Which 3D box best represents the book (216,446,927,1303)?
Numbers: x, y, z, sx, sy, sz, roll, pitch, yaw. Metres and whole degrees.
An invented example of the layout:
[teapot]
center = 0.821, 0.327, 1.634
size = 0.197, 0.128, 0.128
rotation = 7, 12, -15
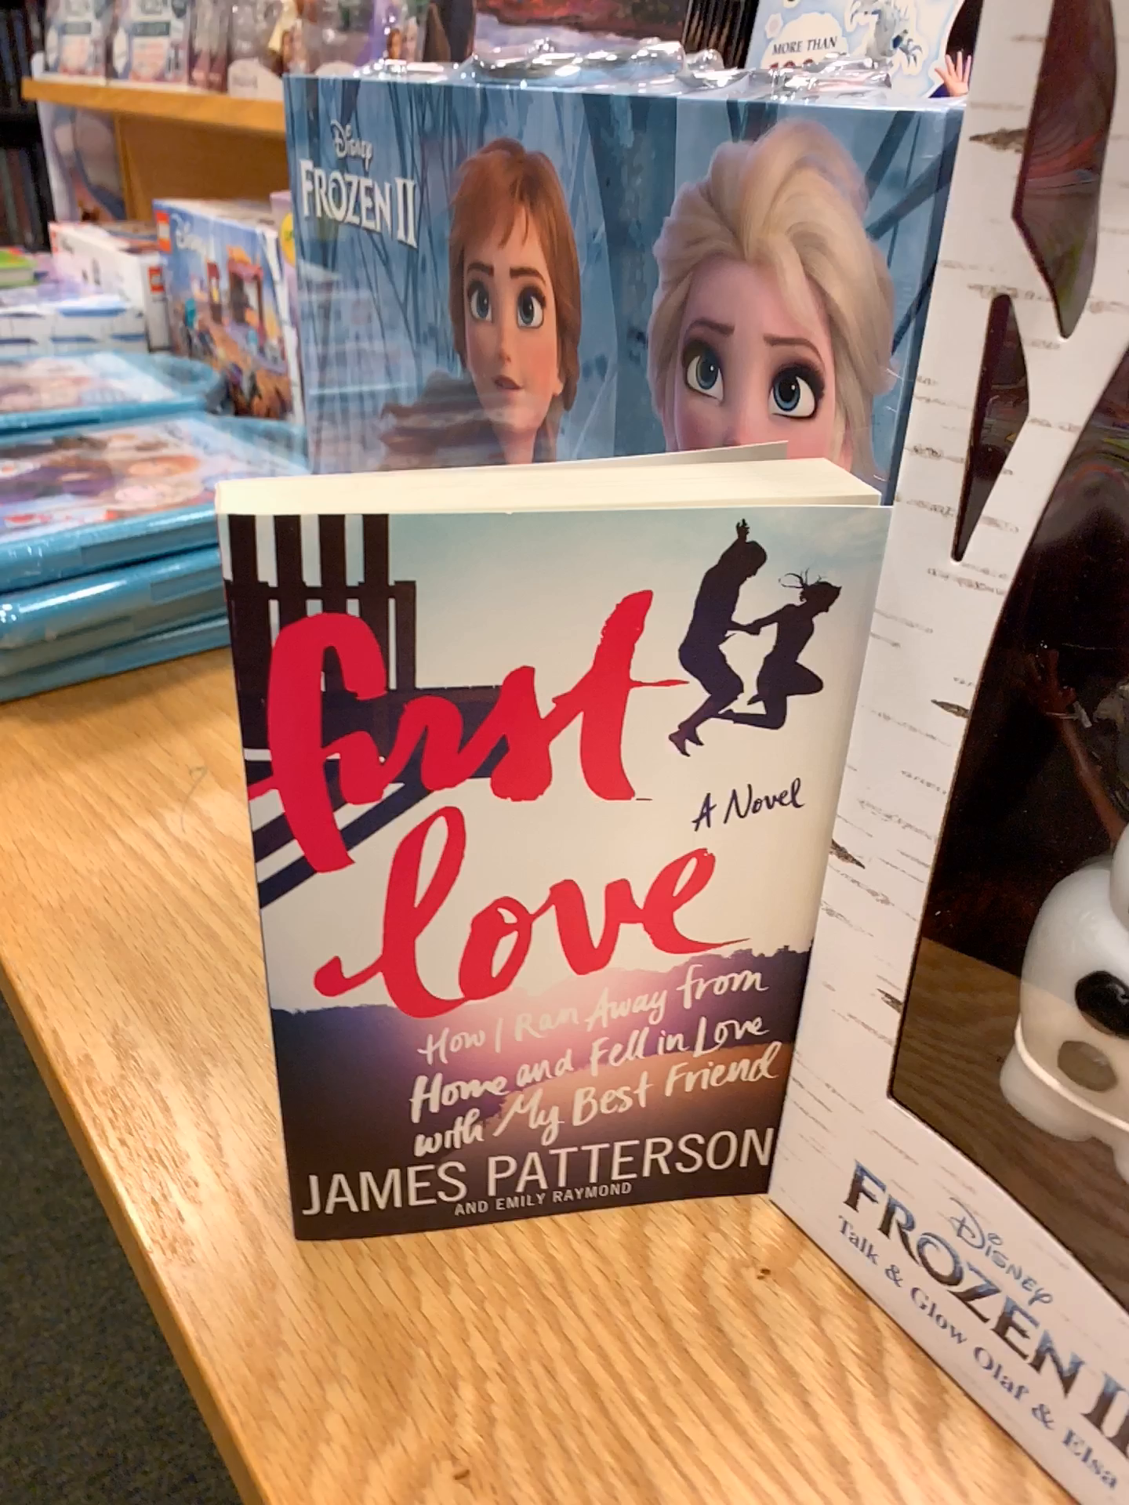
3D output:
[book]
center = -0.004, 0.033, 0.298
size = 0.142, 0.205, 0.059
rotation = -4, 27, -12
